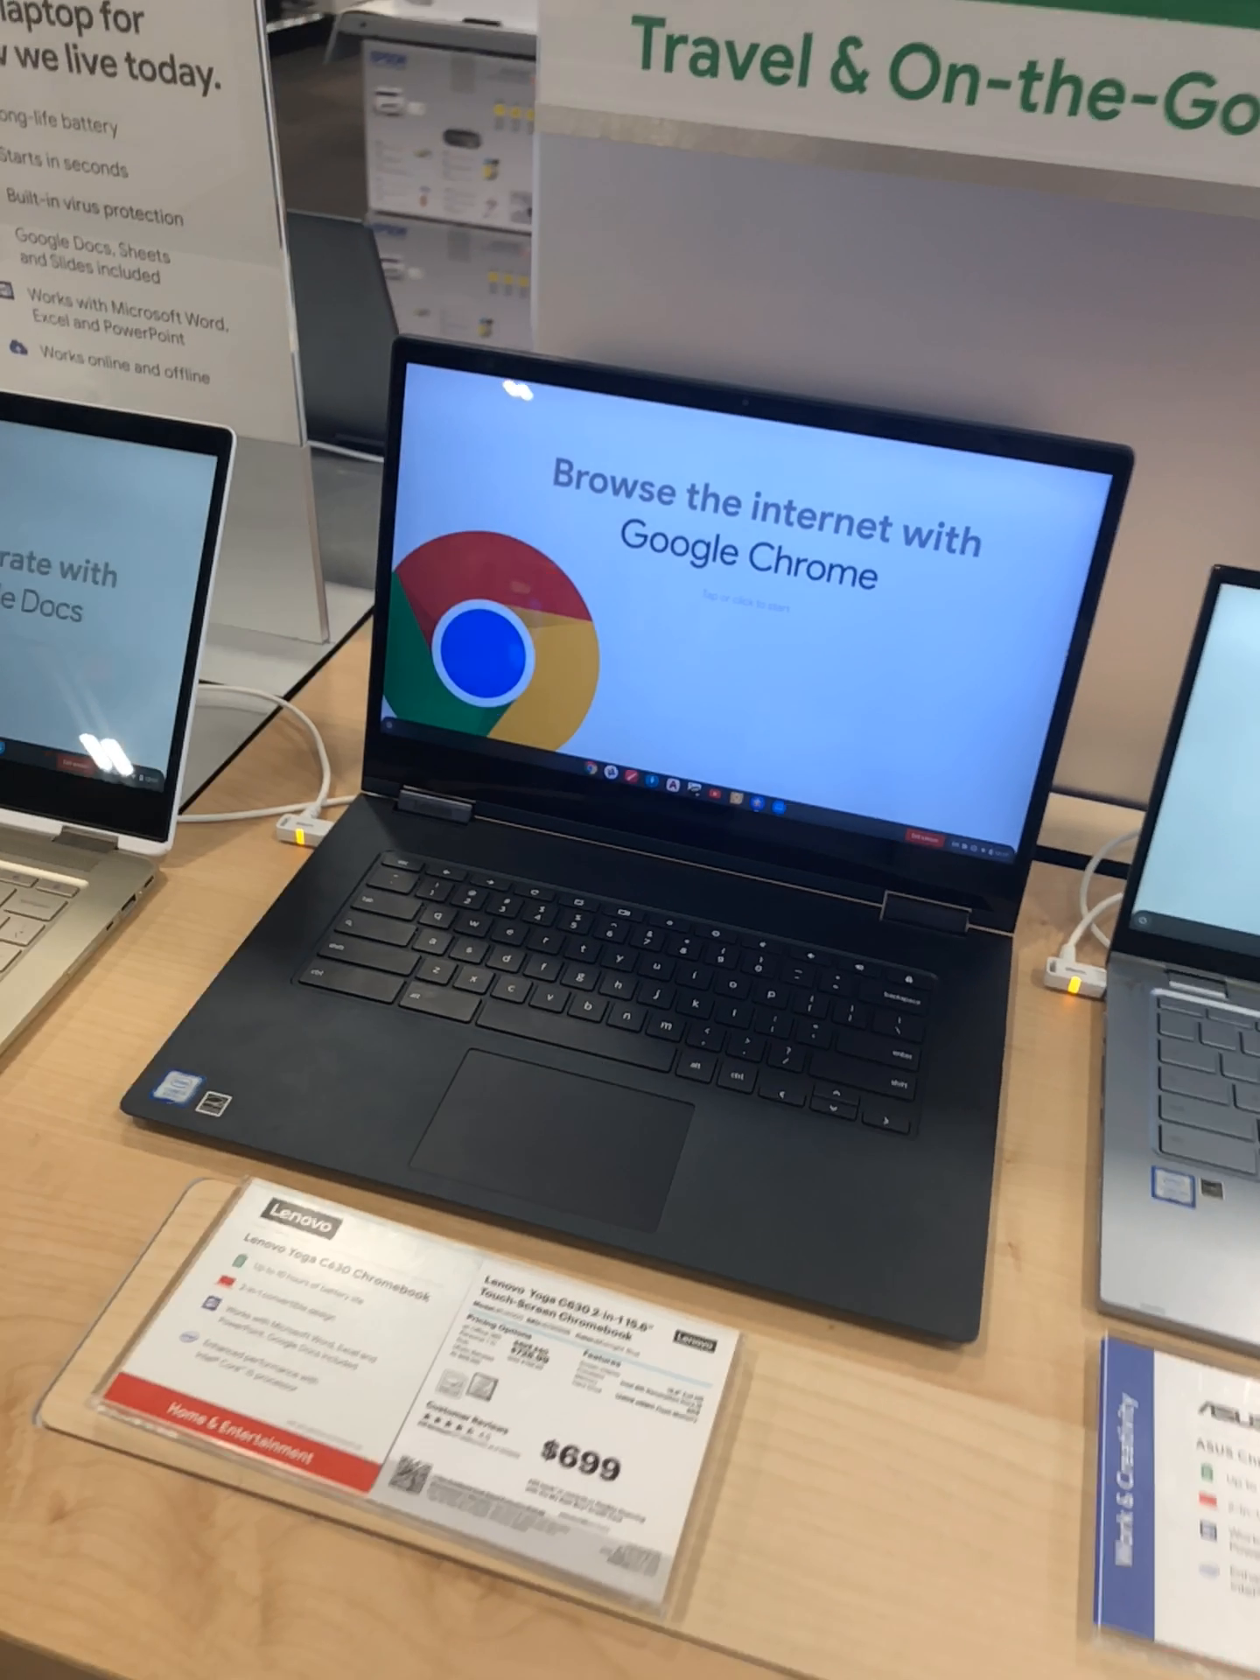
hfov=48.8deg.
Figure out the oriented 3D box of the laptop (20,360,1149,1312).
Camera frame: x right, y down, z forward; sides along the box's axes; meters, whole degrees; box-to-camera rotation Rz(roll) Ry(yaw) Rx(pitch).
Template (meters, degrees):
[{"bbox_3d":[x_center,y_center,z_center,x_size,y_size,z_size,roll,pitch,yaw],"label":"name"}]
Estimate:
[{"bbox_3d":[0.010,-0.029,0.589,0.343,0.230,0.293,12,36,12],"label":"laptop"}]
